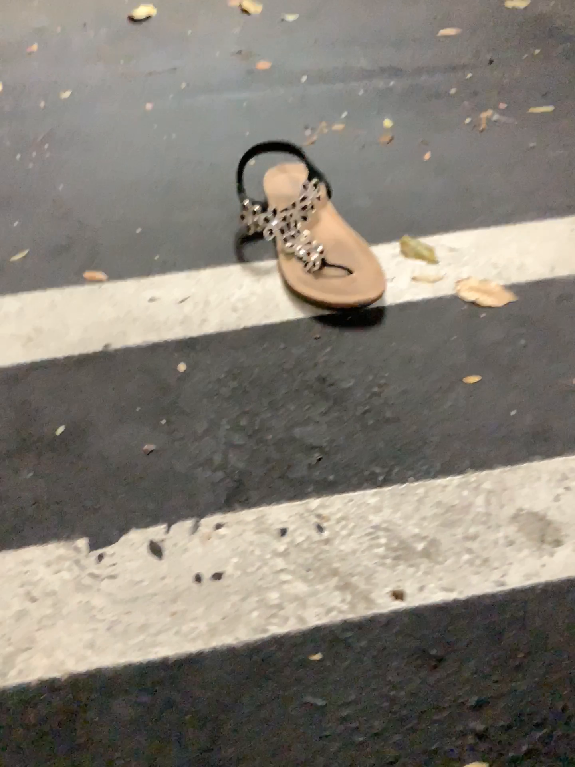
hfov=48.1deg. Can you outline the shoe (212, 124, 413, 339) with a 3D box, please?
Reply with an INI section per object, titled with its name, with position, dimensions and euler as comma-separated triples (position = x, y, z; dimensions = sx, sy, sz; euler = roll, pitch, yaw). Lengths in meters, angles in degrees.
[shoe]
position = 0.014, -0.168, 0.662
dimensions = 0.120, 0.060, 0.260
euler = -14, 50, -12
